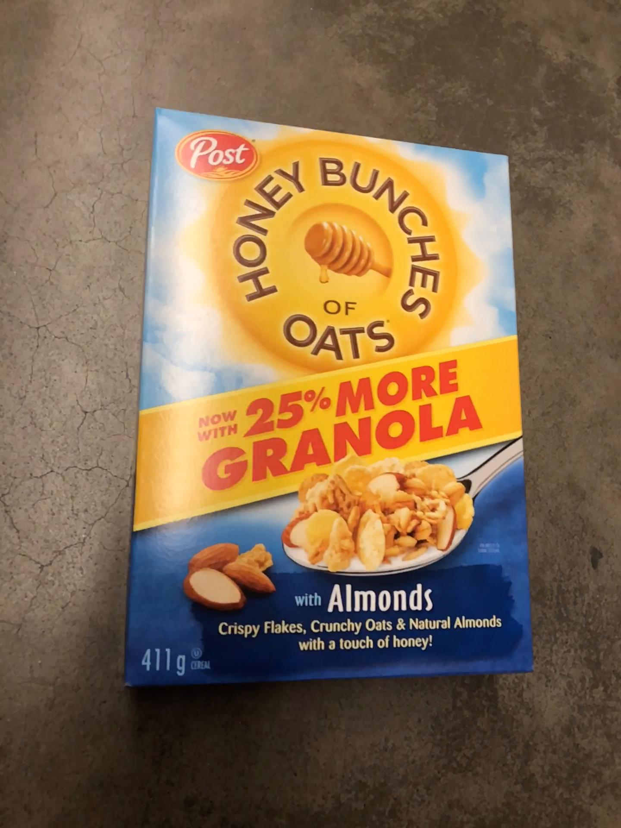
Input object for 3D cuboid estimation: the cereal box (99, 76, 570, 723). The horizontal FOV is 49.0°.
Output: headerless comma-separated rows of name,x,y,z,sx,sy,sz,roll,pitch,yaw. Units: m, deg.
cereal box,0.012,-0.008,0.331,0.200,0.060,0.270,2,80,-13
